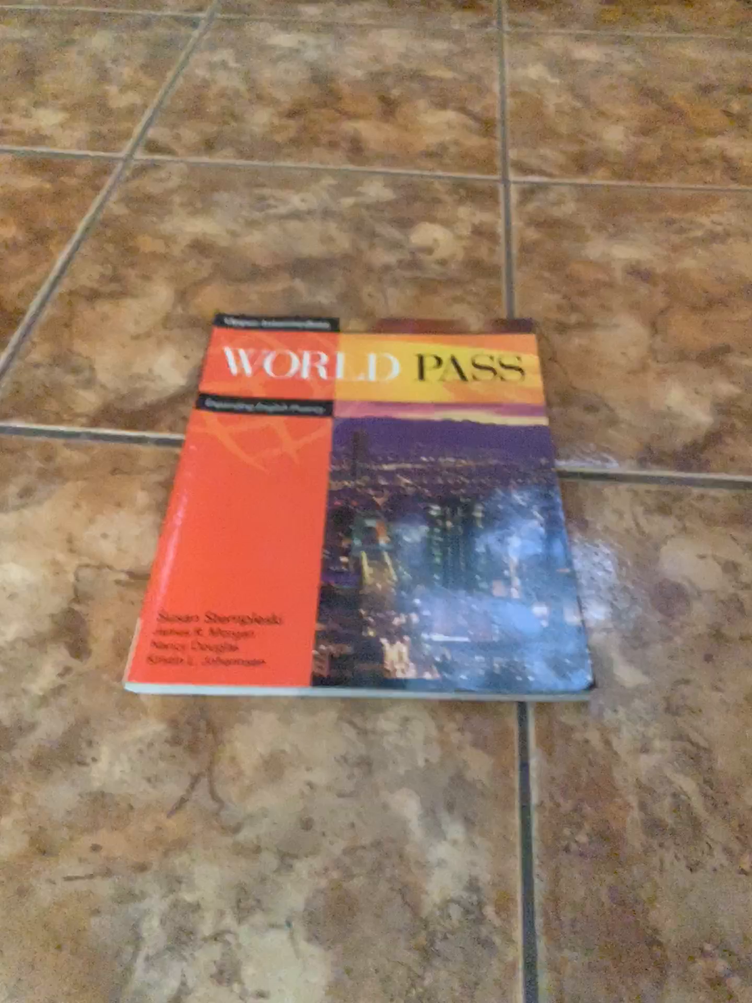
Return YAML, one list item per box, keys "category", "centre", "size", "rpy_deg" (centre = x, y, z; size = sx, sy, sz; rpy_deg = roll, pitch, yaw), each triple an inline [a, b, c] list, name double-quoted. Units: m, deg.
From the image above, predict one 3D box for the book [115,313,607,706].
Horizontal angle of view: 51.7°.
- category: "book"
  centre: [-0.005, -0.017, 0.439]
  size: [0.219, 0.016, 0.272]
  rpy_deg: [1, 49, 0]
